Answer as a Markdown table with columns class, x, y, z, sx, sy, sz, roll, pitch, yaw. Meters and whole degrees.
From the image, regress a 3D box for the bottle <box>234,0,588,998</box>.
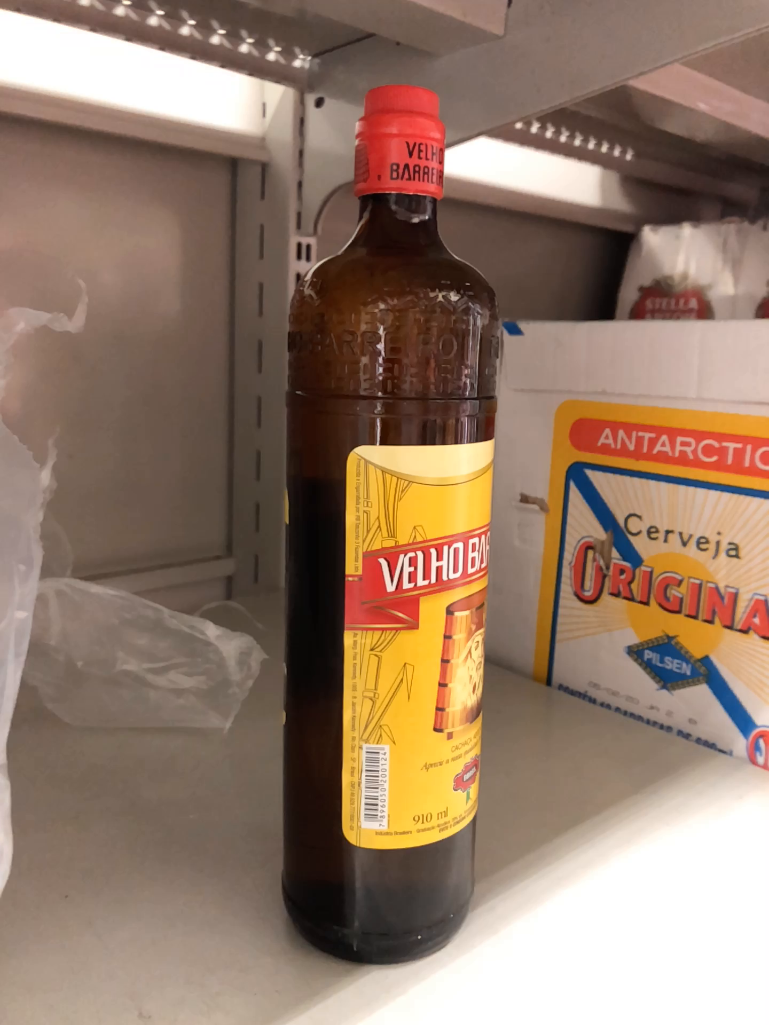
| class | x | y | z | sx | sy | sz | roll | pitch | yaw |
| --- | --- | --- | --- | --- | --- | --- | --- | --- | --- |
| bottle | 0.007 | 0.000 | 0.308 | 0.080 | 0.299 | 0.090 | 10 | 14 | 31 |
